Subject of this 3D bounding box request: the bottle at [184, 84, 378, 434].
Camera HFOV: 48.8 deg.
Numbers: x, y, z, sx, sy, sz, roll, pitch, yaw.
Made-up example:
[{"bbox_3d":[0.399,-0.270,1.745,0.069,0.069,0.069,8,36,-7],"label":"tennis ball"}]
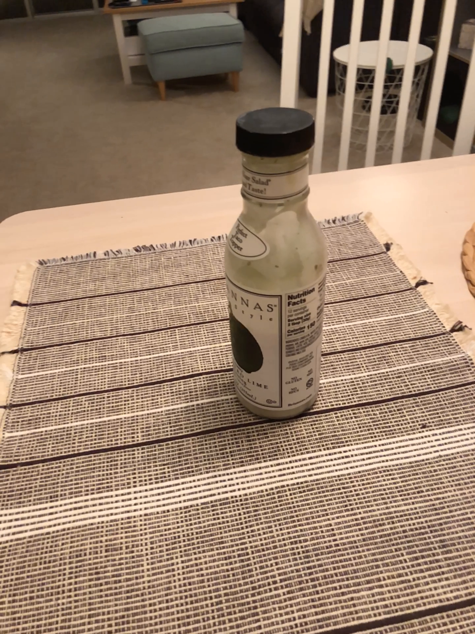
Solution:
[{"bbox_3d":[0.023,-0.028,0.317,0.070,0.186,0.075,-2,39,2],"label":"bottle"}]
